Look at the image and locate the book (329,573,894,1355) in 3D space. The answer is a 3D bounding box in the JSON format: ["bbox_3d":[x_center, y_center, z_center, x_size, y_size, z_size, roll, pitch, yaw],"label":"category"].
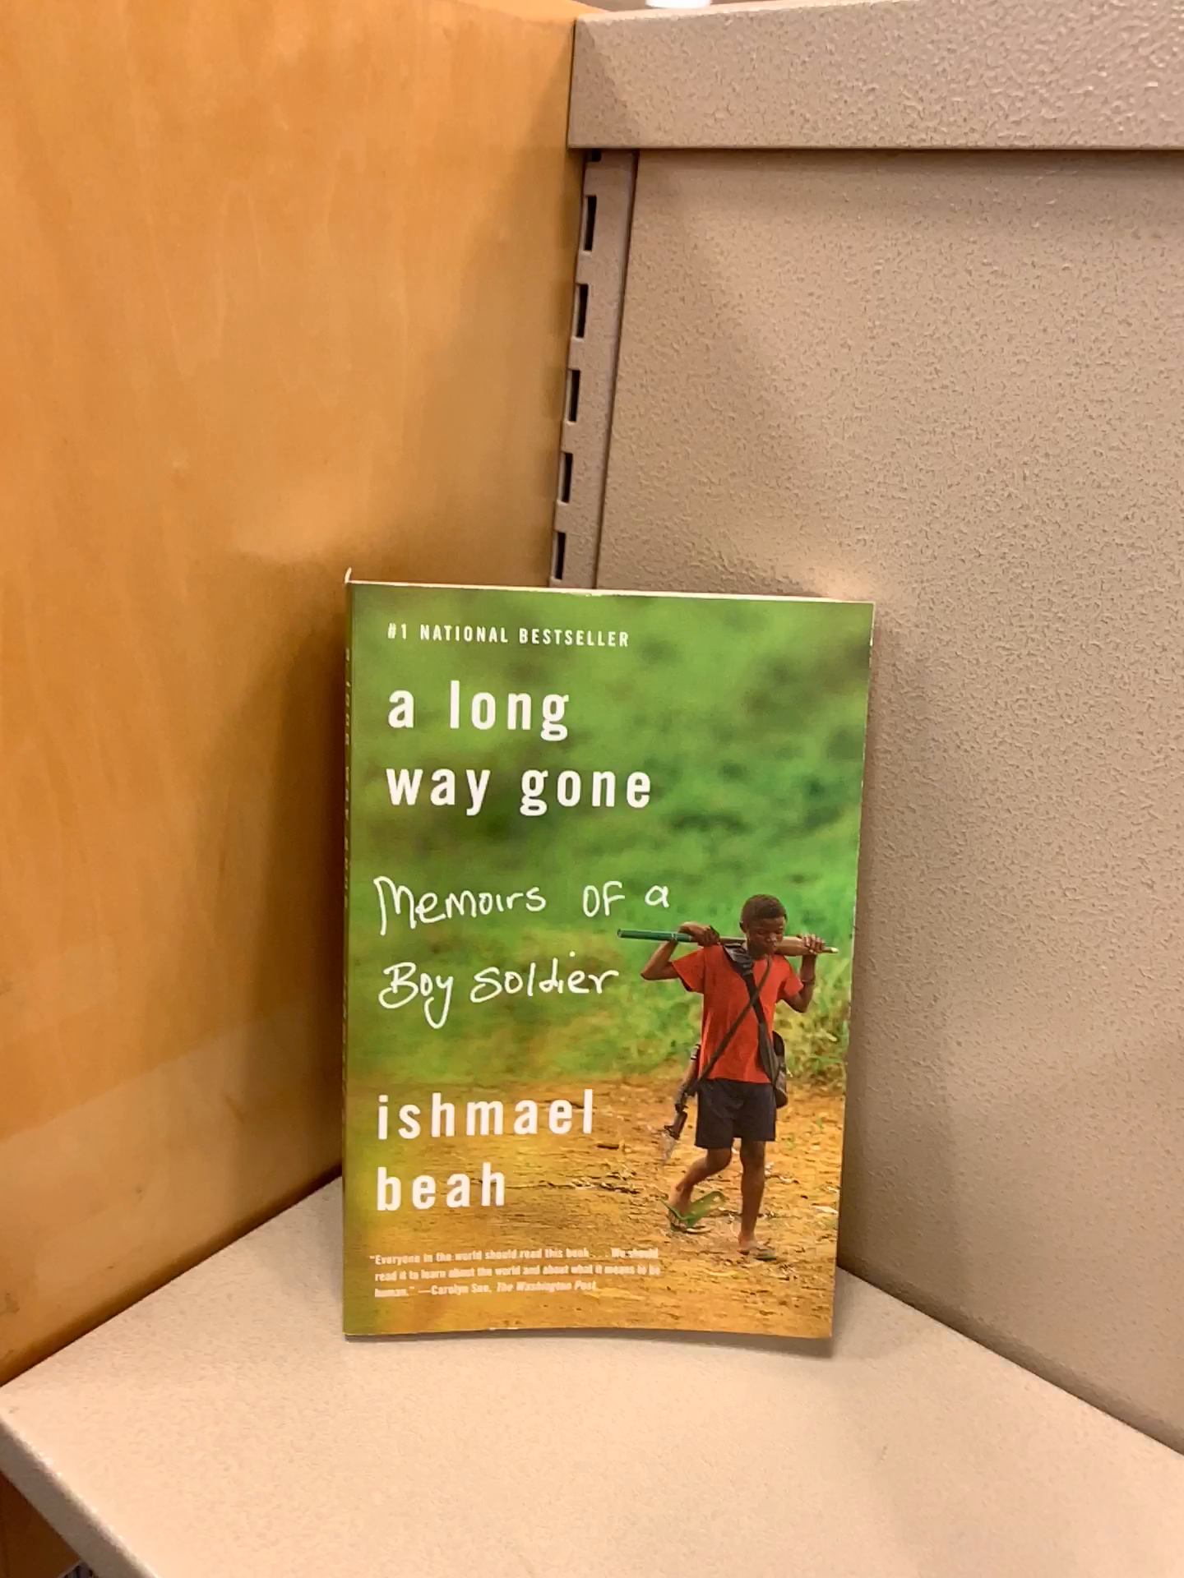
[{"bbox_3d":[0.002,0.051,0.332,0.140,0.210,0.020,2,9,-3],"label":"book"}]
